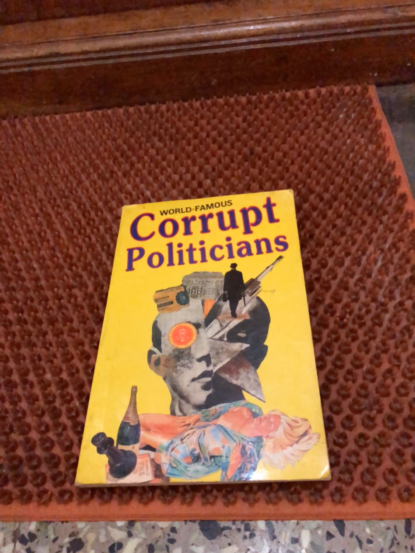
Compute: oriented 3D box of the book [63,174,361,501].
[{"bbox_3d":[0.002,0.021,0.309,0.150,0.020,0.231,-3,53,5],"label":"book"}]
